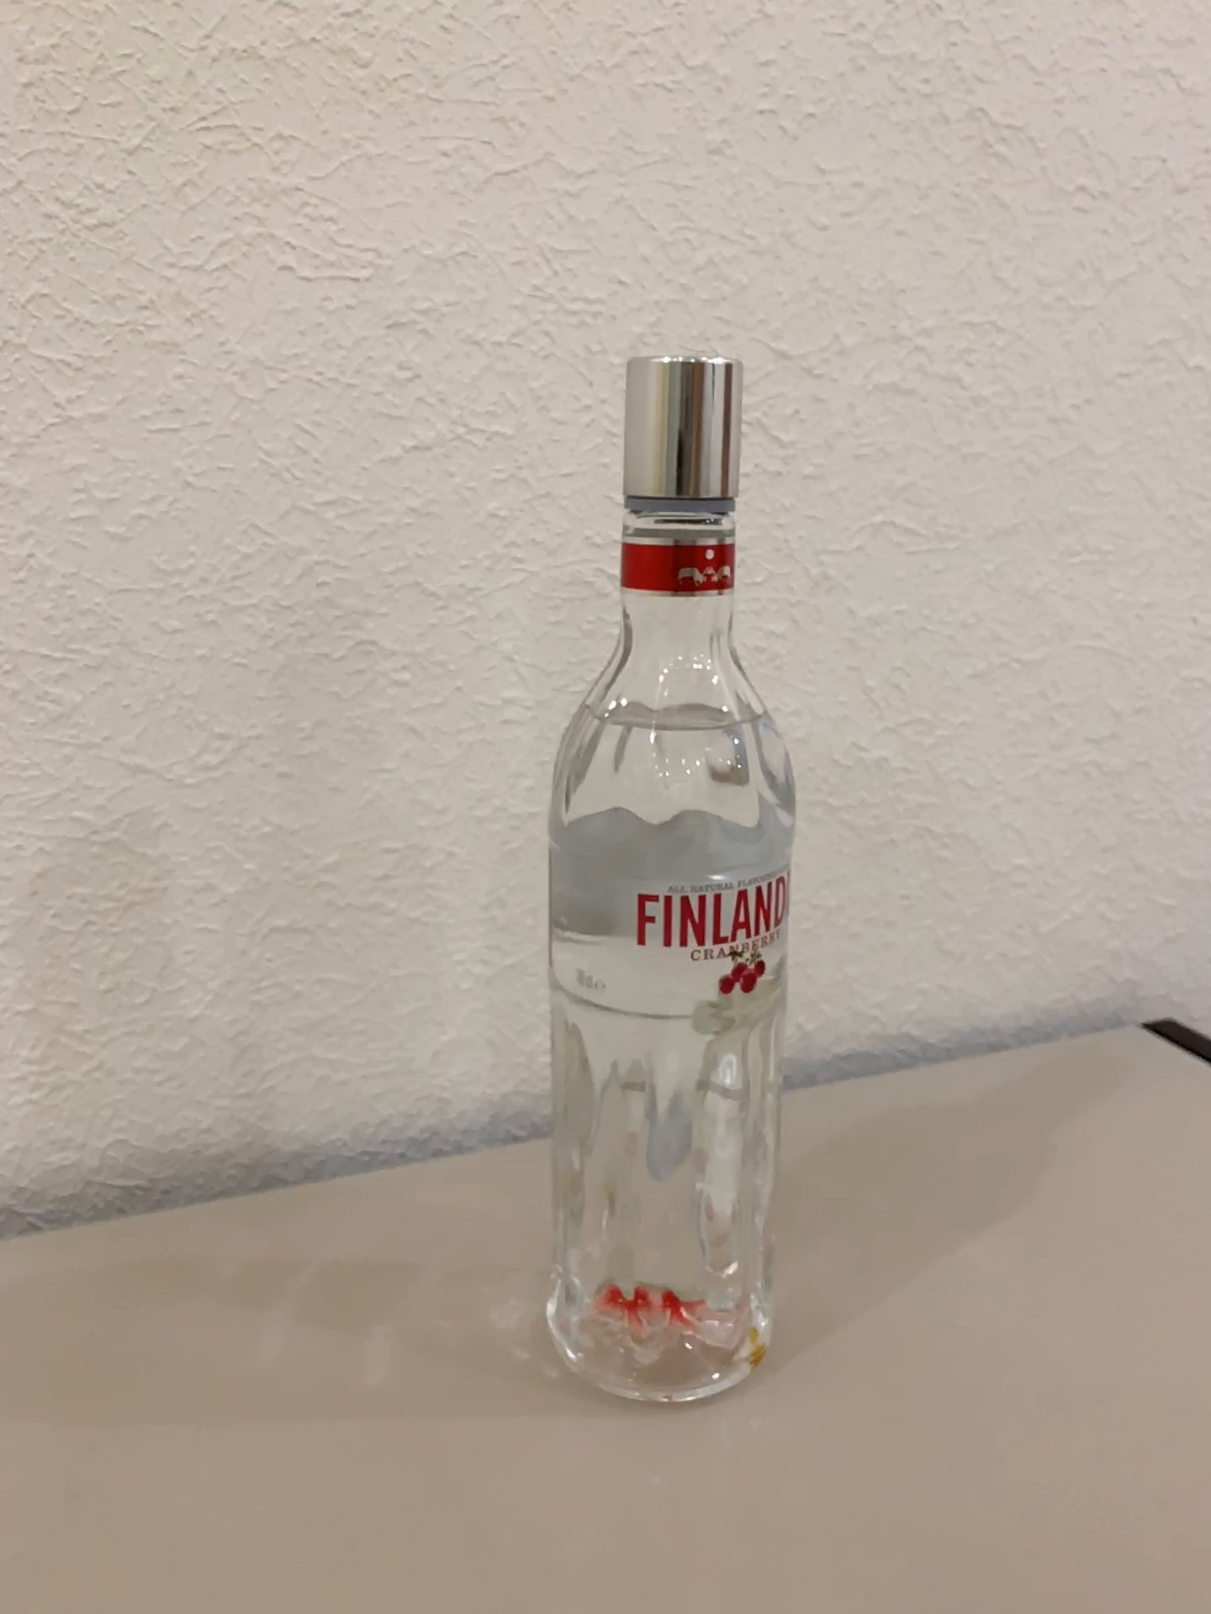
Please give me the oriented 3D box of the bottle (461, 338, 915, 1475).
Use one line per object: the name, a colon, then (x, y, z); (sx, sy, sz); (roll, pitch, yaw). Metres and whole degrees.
bottle: (0.018, 0.027, 0.386); (0.090, 0.309, 0.090); (1, 14, 0)
